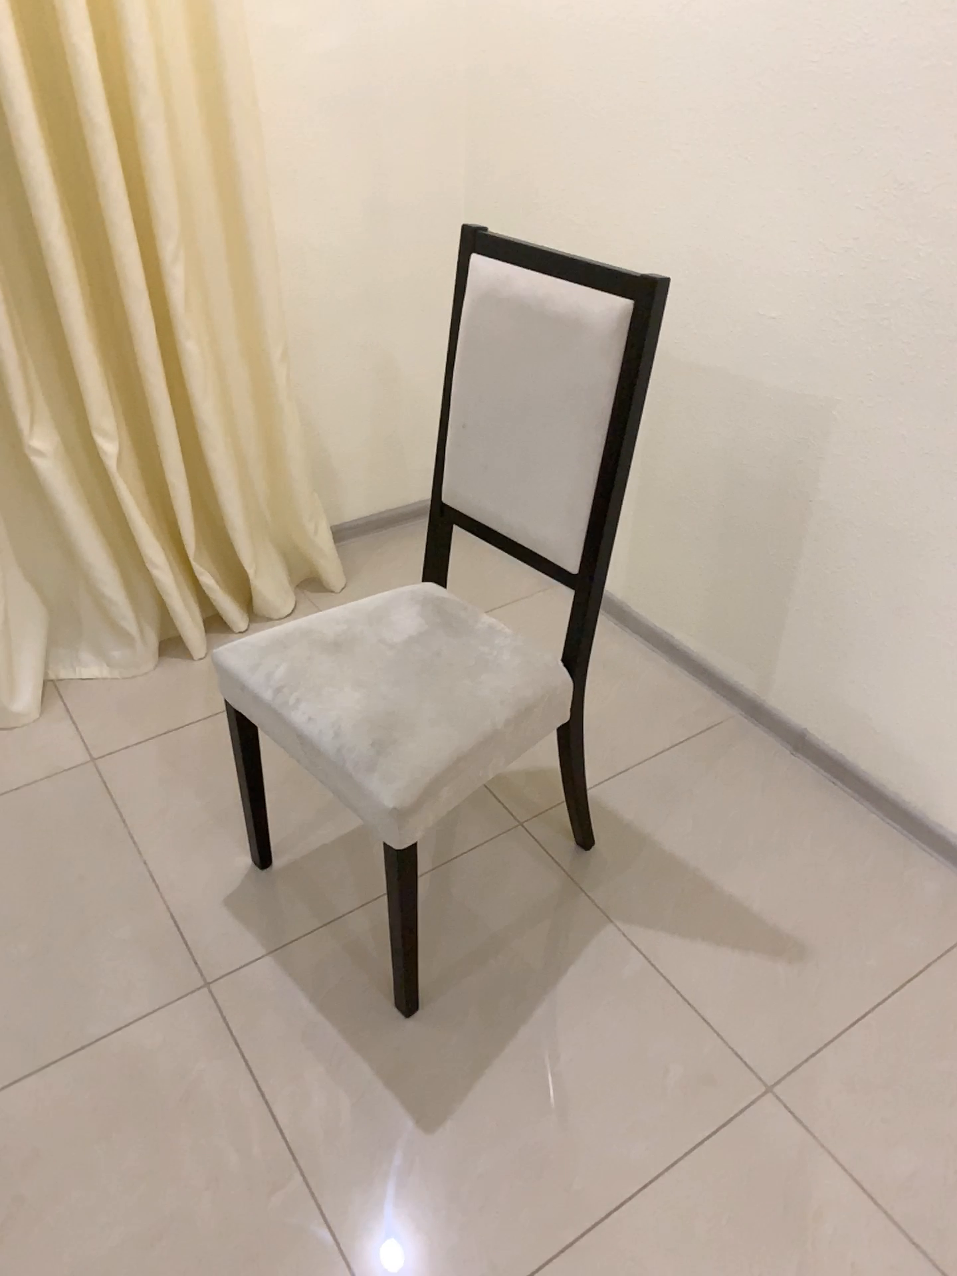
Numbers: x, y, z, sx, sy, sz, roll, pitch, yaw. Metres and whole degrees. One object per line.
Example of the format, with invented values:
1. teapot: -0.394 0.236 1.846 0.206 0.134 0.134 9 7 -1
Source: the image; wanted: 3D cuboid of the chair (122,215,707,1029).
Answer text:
1. chair: -0.081 -0.037 1.430 0.511 0.964 0.482 -26 41 -35
